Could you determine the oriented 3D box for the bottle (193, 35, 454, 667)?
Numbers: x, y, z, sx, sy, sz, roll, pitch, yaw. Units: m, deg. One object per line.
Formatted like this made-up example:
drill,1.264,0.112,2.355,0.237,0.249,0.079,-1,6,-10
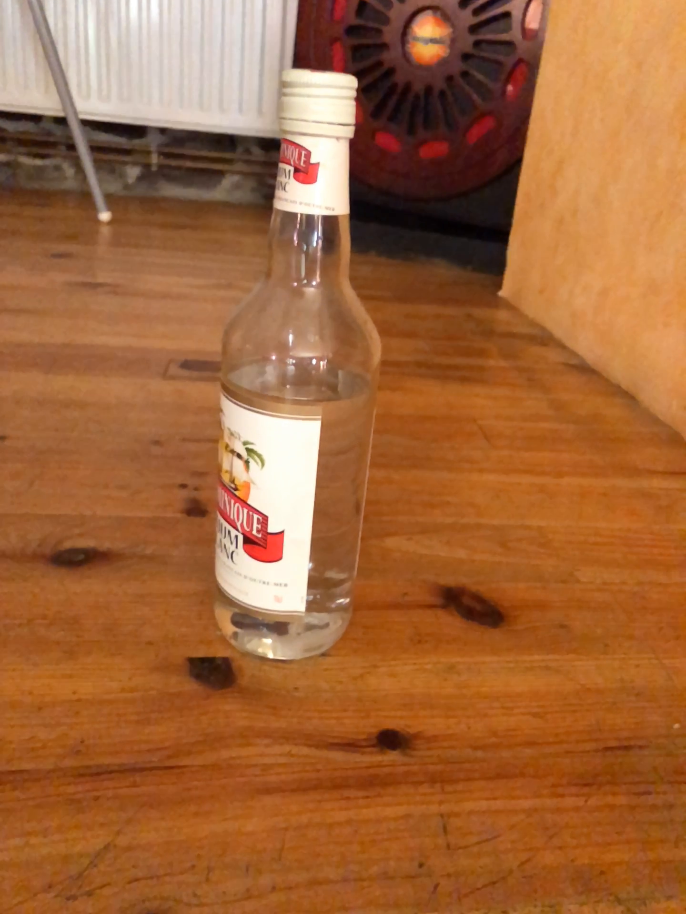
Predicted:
bottle,-0.022,-0.041,0.351,0.080,0.259,0.090,-4,26,-18
